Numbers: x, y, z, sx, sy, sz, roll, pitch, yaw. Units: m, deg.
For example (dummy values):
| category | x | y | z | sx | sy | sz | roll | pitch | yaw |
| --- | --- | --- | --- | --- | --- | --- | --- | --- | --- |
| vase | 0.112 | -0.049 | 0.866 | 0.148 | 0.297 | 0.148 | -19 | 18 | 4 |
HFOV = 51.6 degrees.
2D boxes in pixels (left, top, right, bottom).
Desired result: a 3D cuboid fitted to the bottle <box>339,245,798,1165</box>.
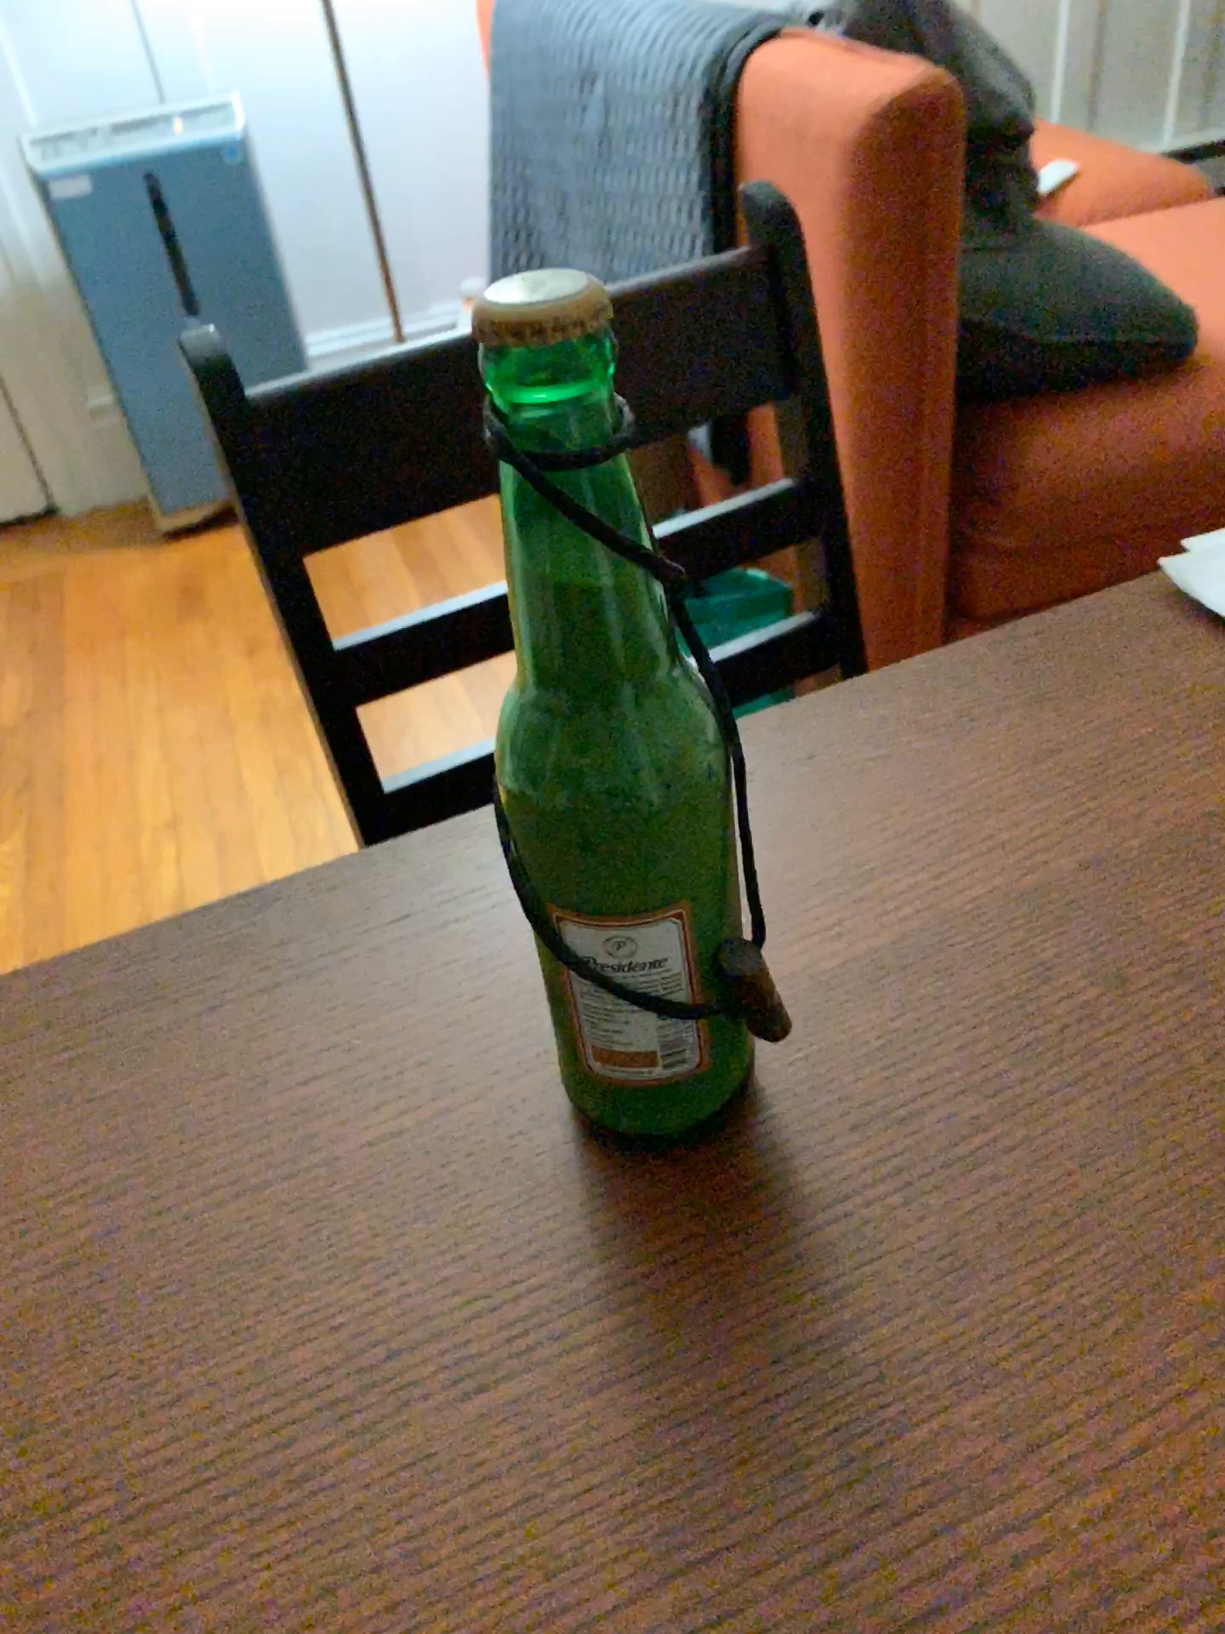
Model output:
| category | x | y | z | sx | sy | sz | roll | pitch | yaw |
| --- | --- | --- | --- | --- | --- | --- | --- | --- | --- |
| bottle | 0.003 | -0.011 | 0.336 | 0.080 | 0.239 | 0.070 | -4 | 39 | 6 |
